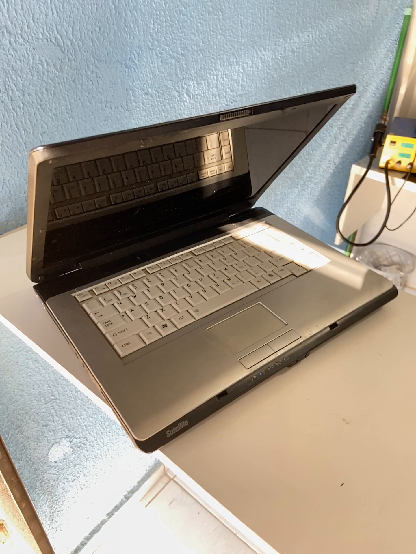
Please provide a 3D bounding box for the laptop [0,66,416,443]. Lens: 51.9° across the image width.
[{"bbox_3d":[0.016,-0.069,0.446,0.352,0.202,0.246,-23,43,-29],"label":"laptop"}]
